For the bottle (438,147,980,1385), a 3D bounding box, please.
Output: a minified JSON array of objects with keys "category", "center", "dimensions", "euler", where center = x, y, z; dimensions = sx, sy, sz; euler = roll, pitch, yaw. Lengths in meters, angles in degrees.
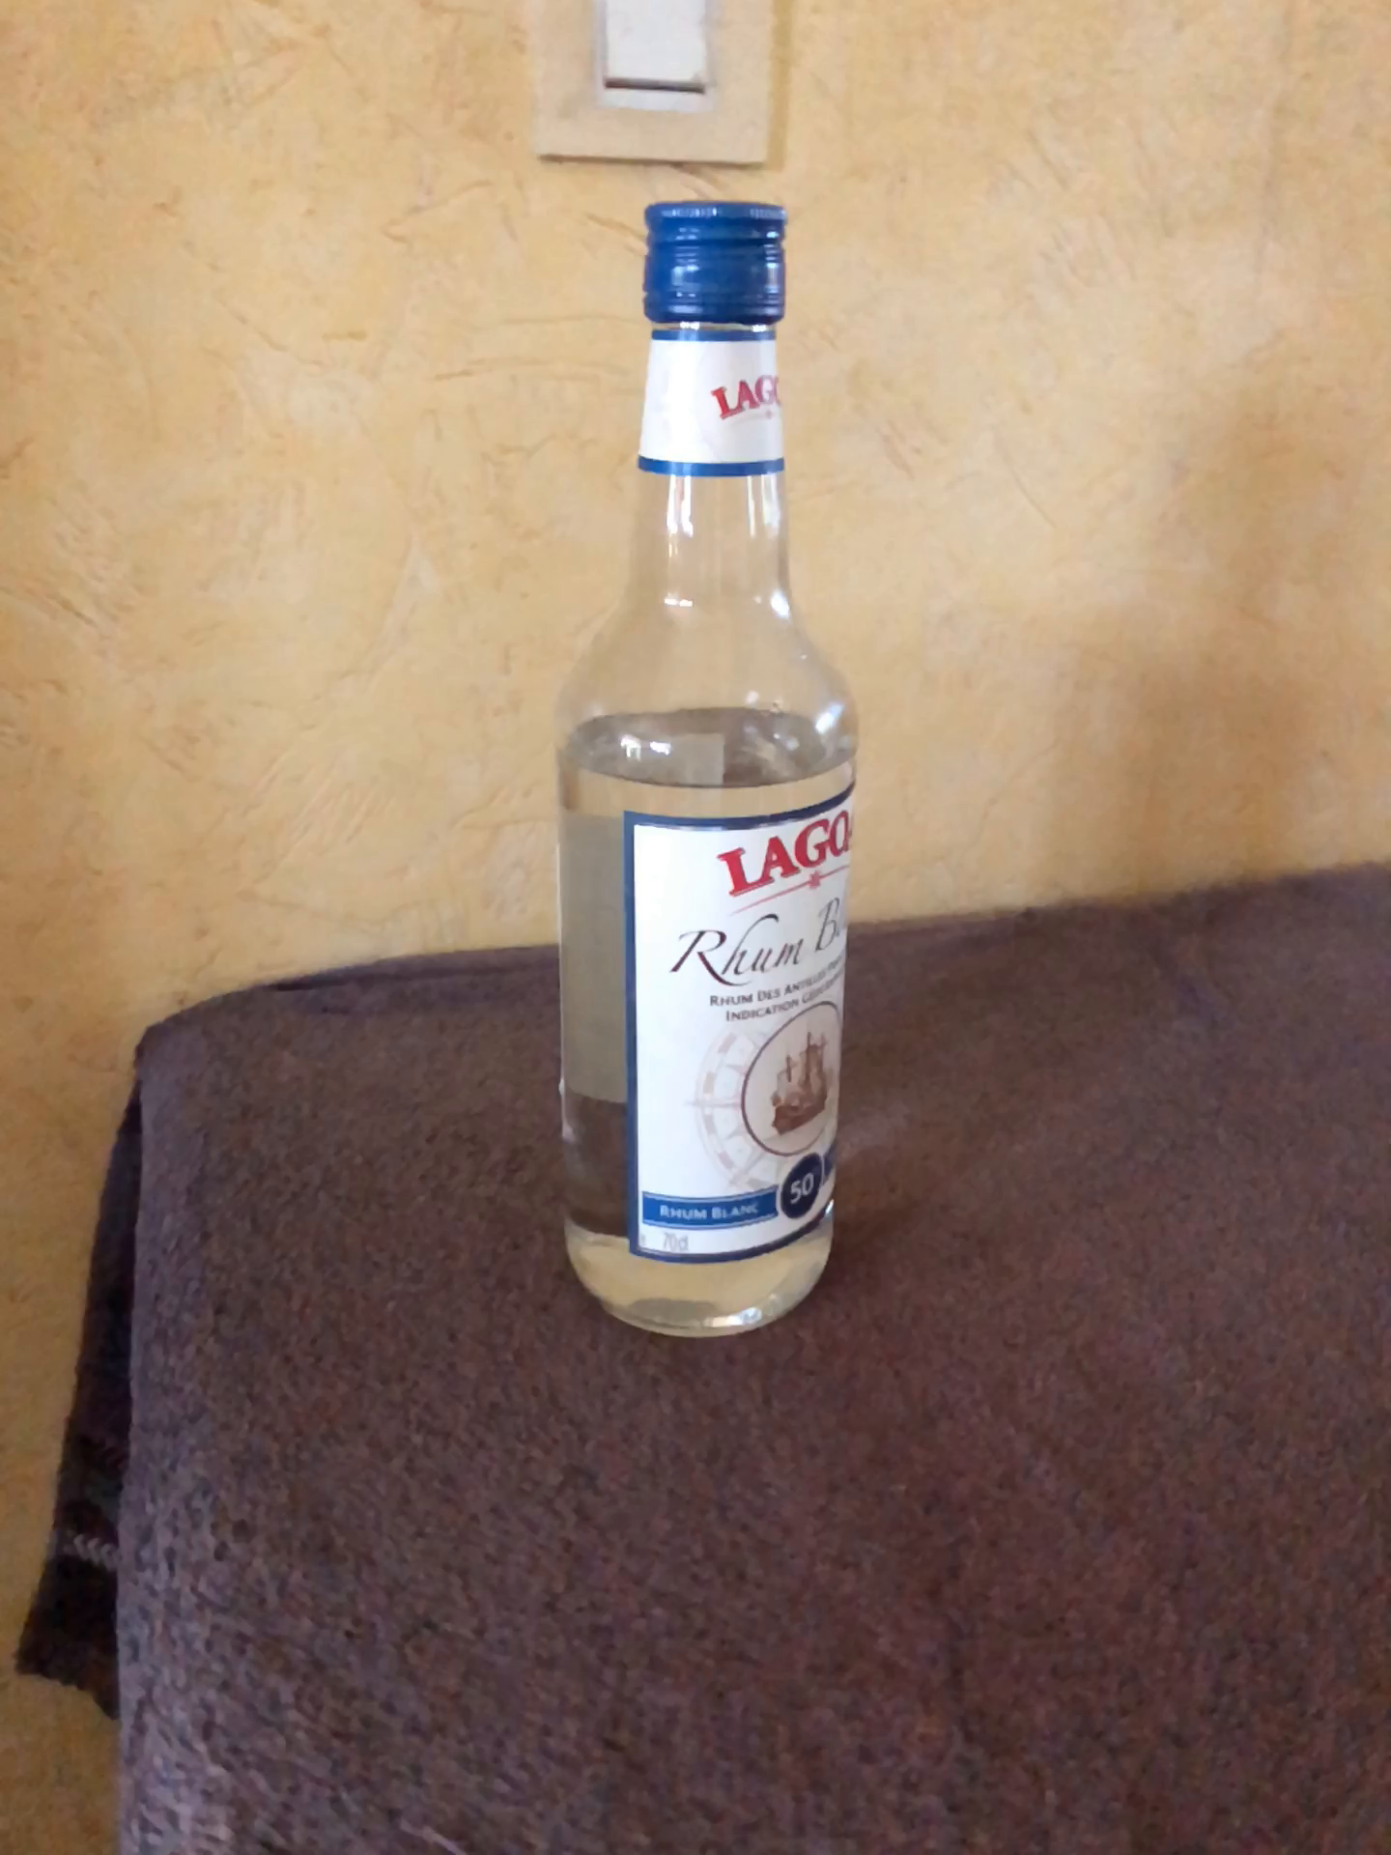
[{"category":"bottle","center":[0.002,-0.035,0.372],"dimensions":[0.080,0.269,0.080],"euler":[1,23,0]}]
